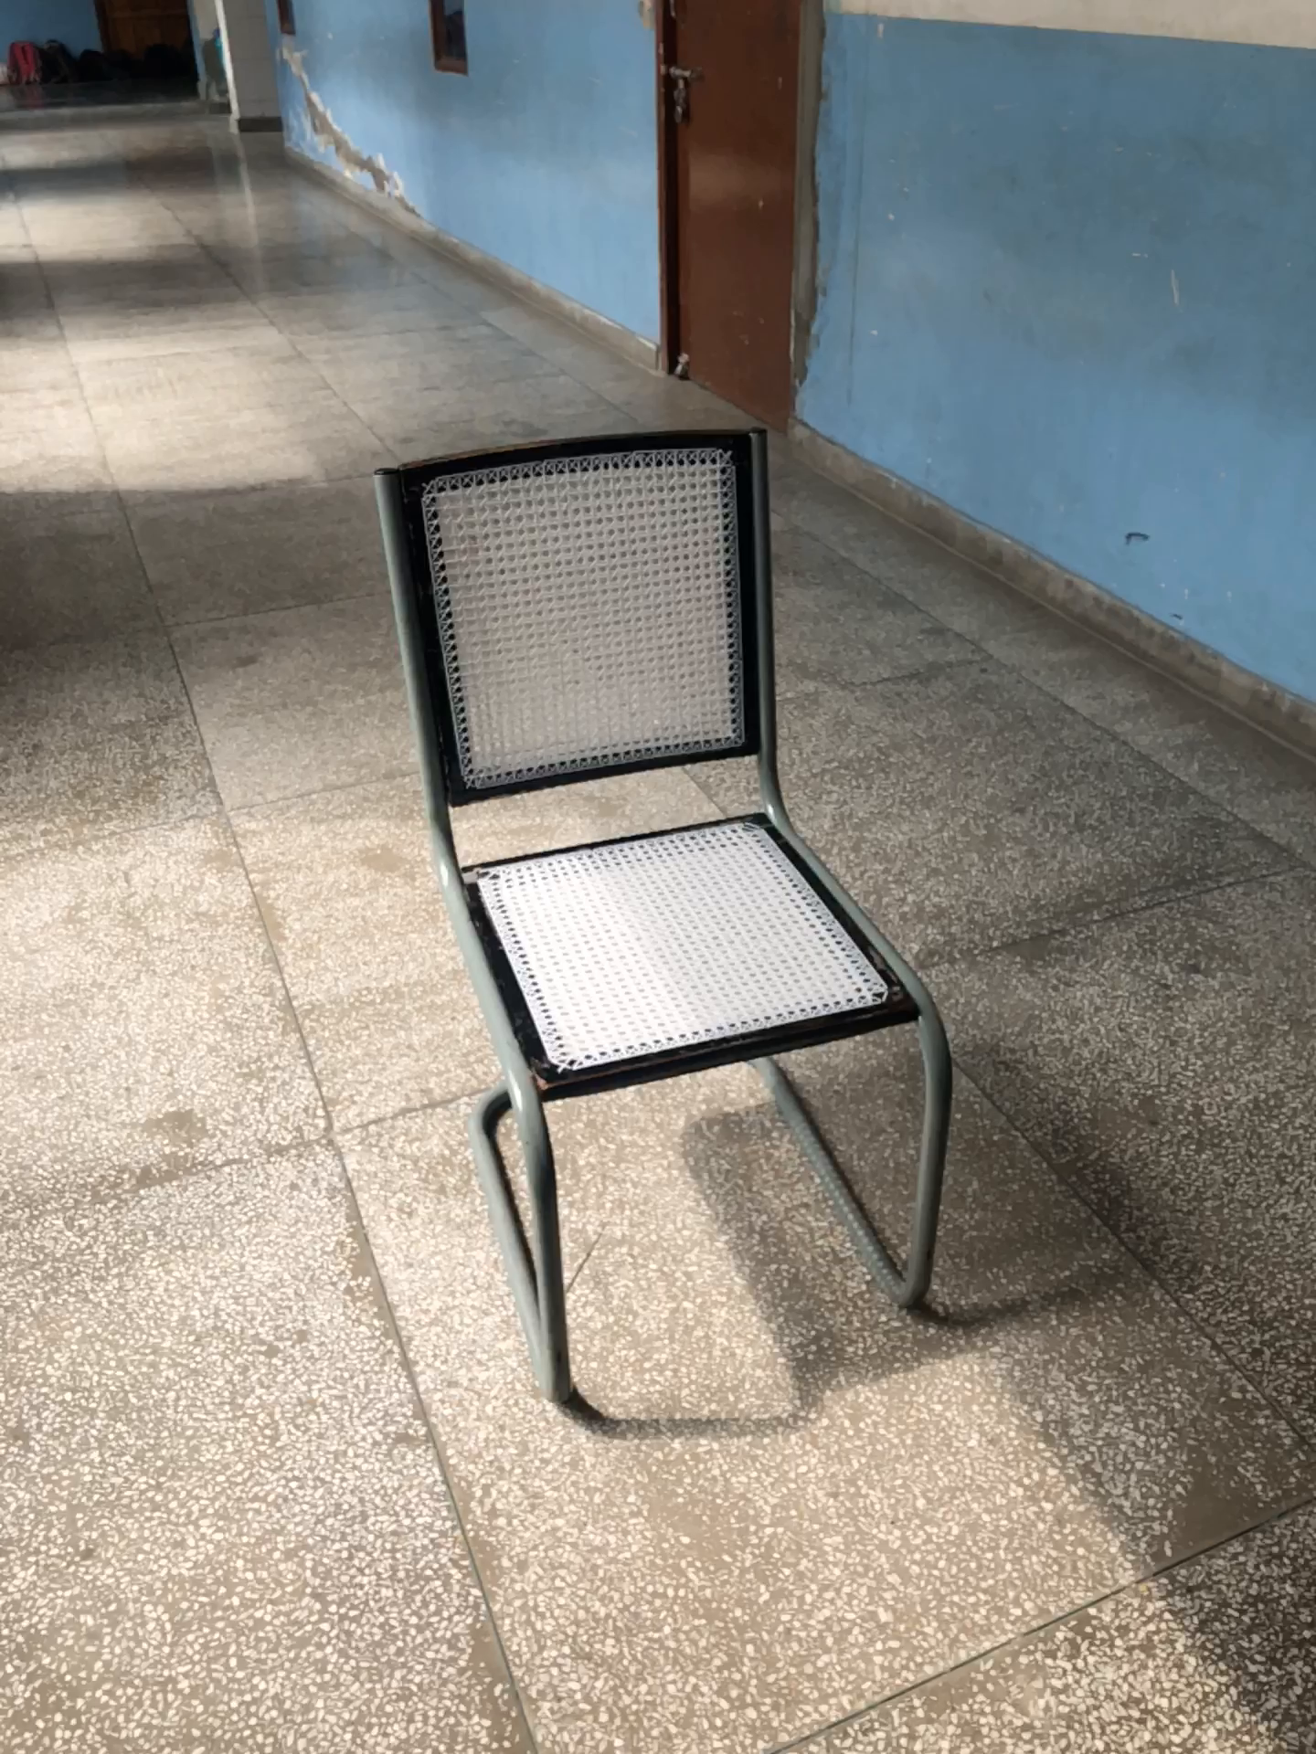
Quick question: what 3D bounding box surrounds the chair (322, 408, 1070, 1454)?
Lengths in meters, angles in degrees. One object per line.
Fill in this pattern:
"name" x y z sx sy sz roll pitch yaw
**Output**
"chair" -0.006 0.028 1.496 0.490 0.817 0.572 -11 34 -15
